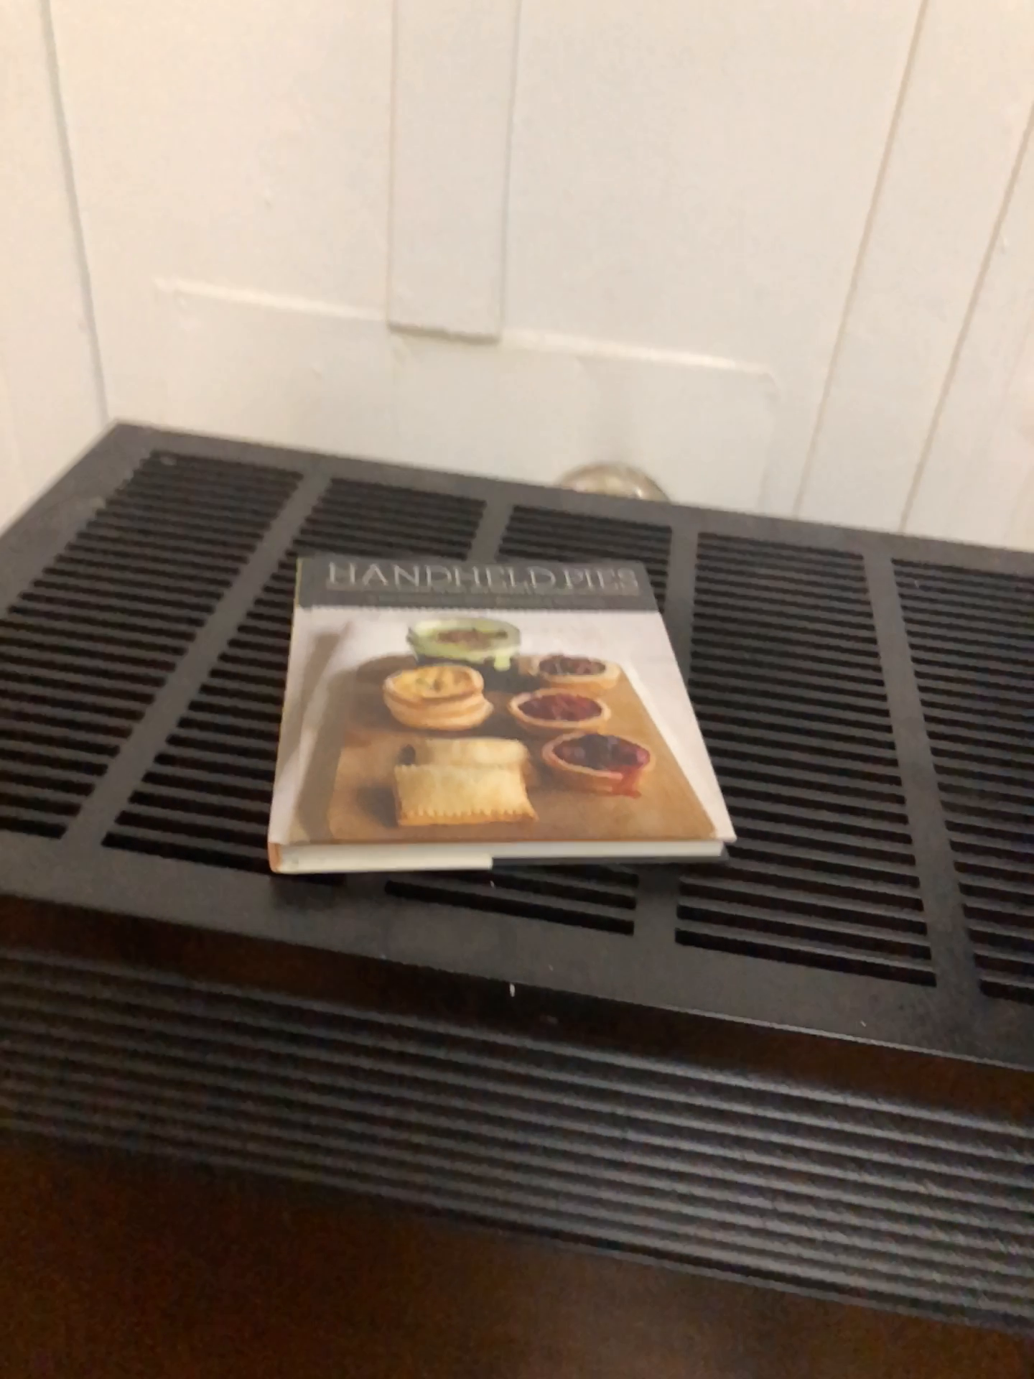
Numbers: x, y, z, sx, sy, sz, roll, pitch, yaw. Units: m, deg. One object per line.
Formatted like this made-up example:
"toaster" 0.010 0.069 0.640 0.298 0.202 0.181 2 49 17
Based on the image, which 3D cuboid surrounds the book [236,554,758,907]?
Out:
"book" -0.017 0.004 0.534 0.200 0.020 0.231 -1 37 -6
